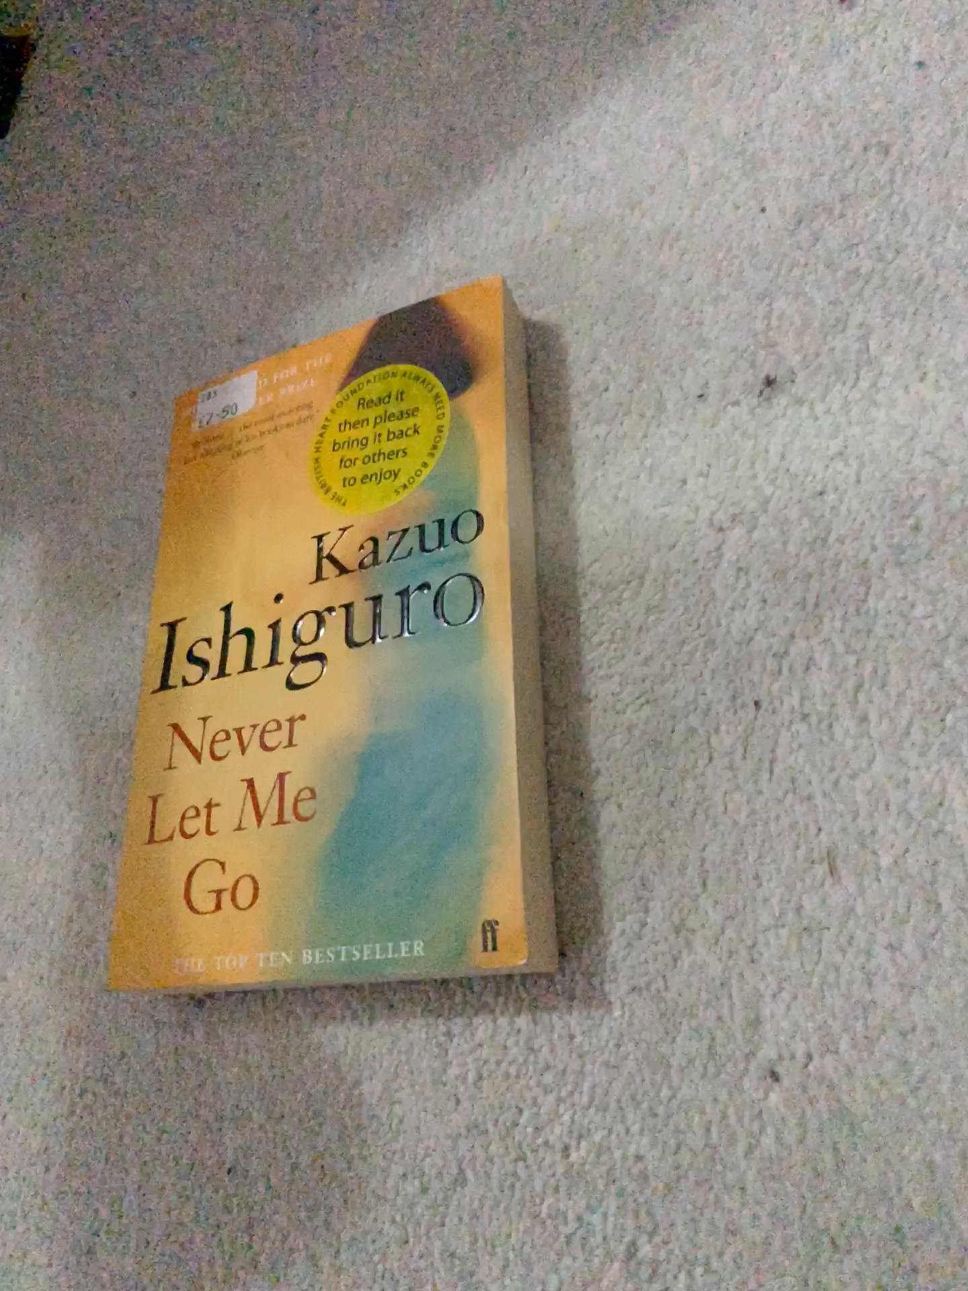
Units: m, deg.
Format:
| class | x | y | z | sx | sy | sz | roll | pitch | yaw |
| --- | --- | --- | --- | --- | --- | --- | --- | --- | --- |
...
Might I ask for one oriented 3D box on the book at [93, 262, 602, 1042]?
| class | x | y | z | sx | sy | sz | roll | pitch | yaw |
| --- | --- | --- | --- | --- | --- | --- | --- | --- | --- |
| book | -0.042 | 0.001 | 0.292 | 0.140 | 0.020 | 0.211 | -12 | 65 | 24 |
